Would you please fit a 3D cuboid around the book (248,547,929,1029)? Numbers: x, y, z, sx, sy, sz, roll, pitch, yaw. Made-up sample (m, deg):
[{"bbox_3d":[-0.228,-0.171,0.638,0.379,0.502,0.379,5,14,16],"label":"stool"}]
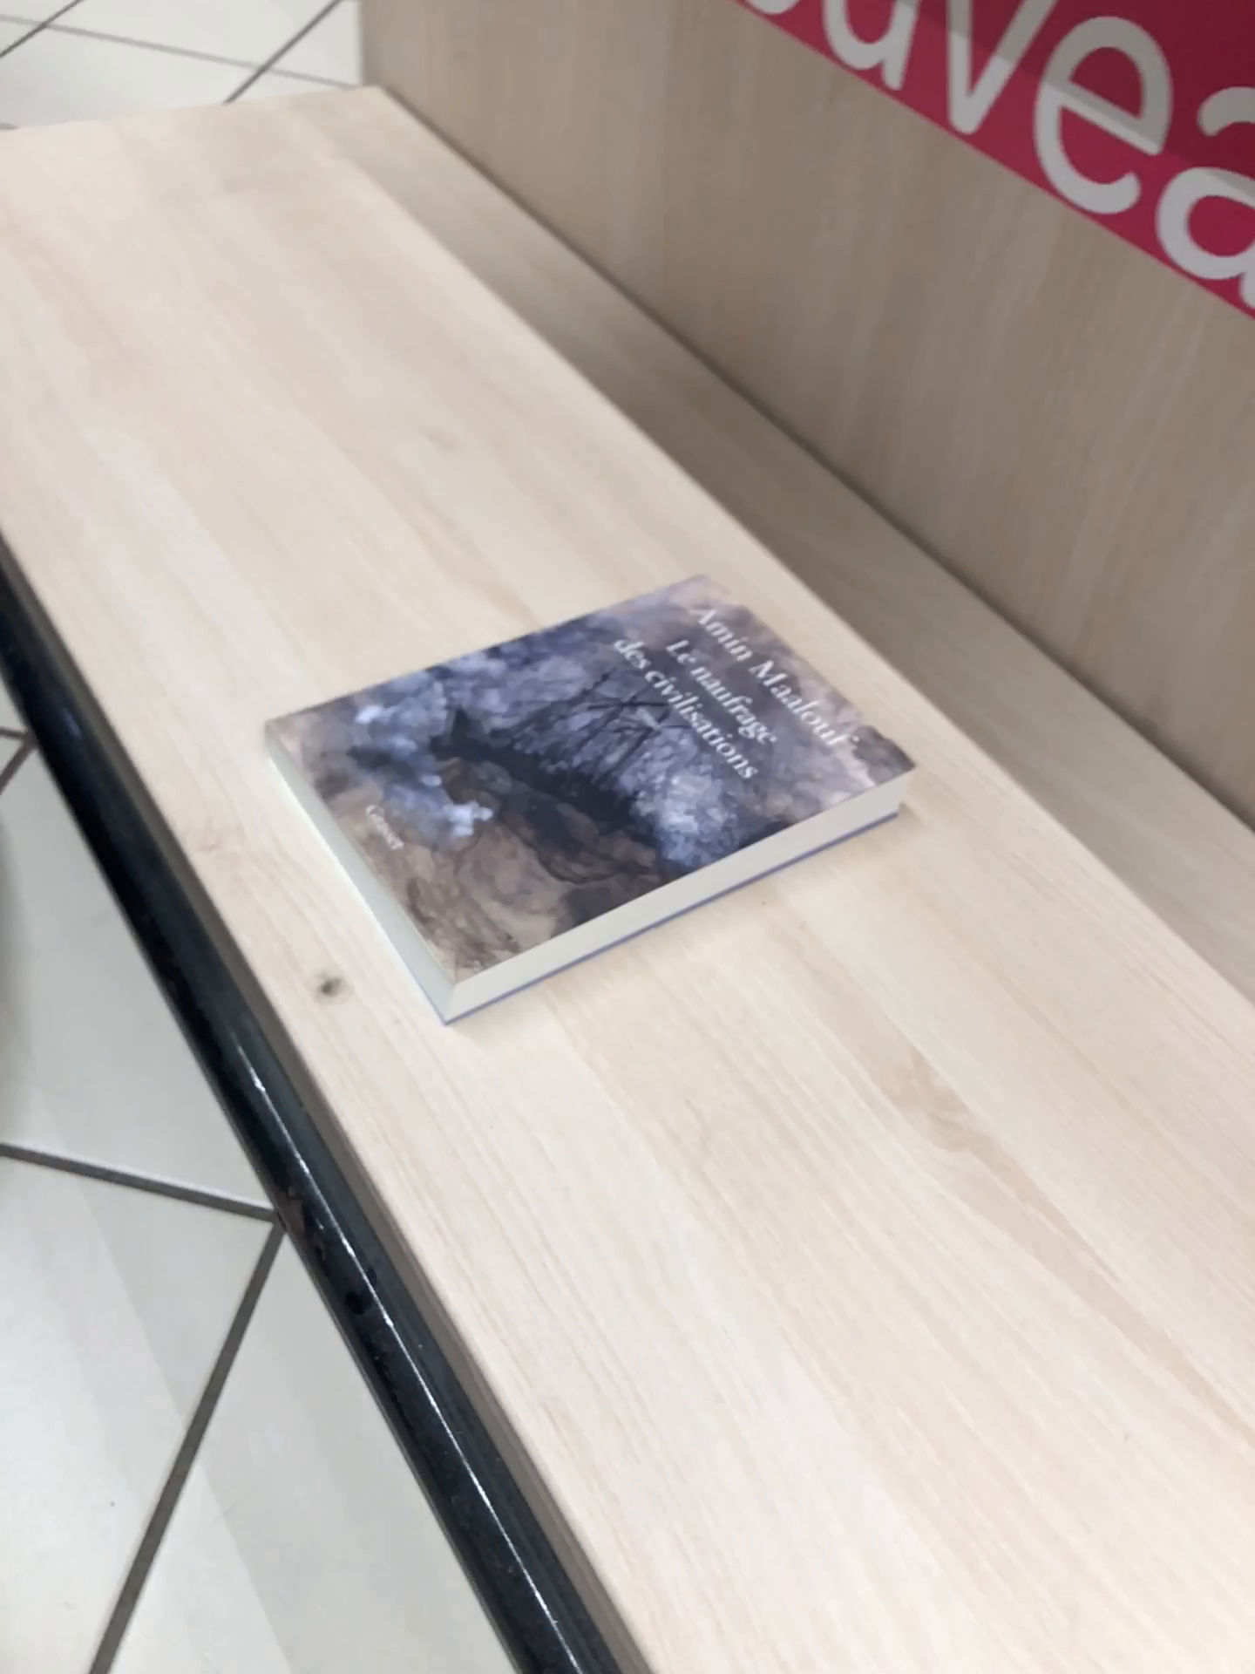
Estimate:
[{"bbox_3d":[-0.014,-0.032,0.532,0.212,0.026,0.147,-23,55,-26],"label":"book"}]
